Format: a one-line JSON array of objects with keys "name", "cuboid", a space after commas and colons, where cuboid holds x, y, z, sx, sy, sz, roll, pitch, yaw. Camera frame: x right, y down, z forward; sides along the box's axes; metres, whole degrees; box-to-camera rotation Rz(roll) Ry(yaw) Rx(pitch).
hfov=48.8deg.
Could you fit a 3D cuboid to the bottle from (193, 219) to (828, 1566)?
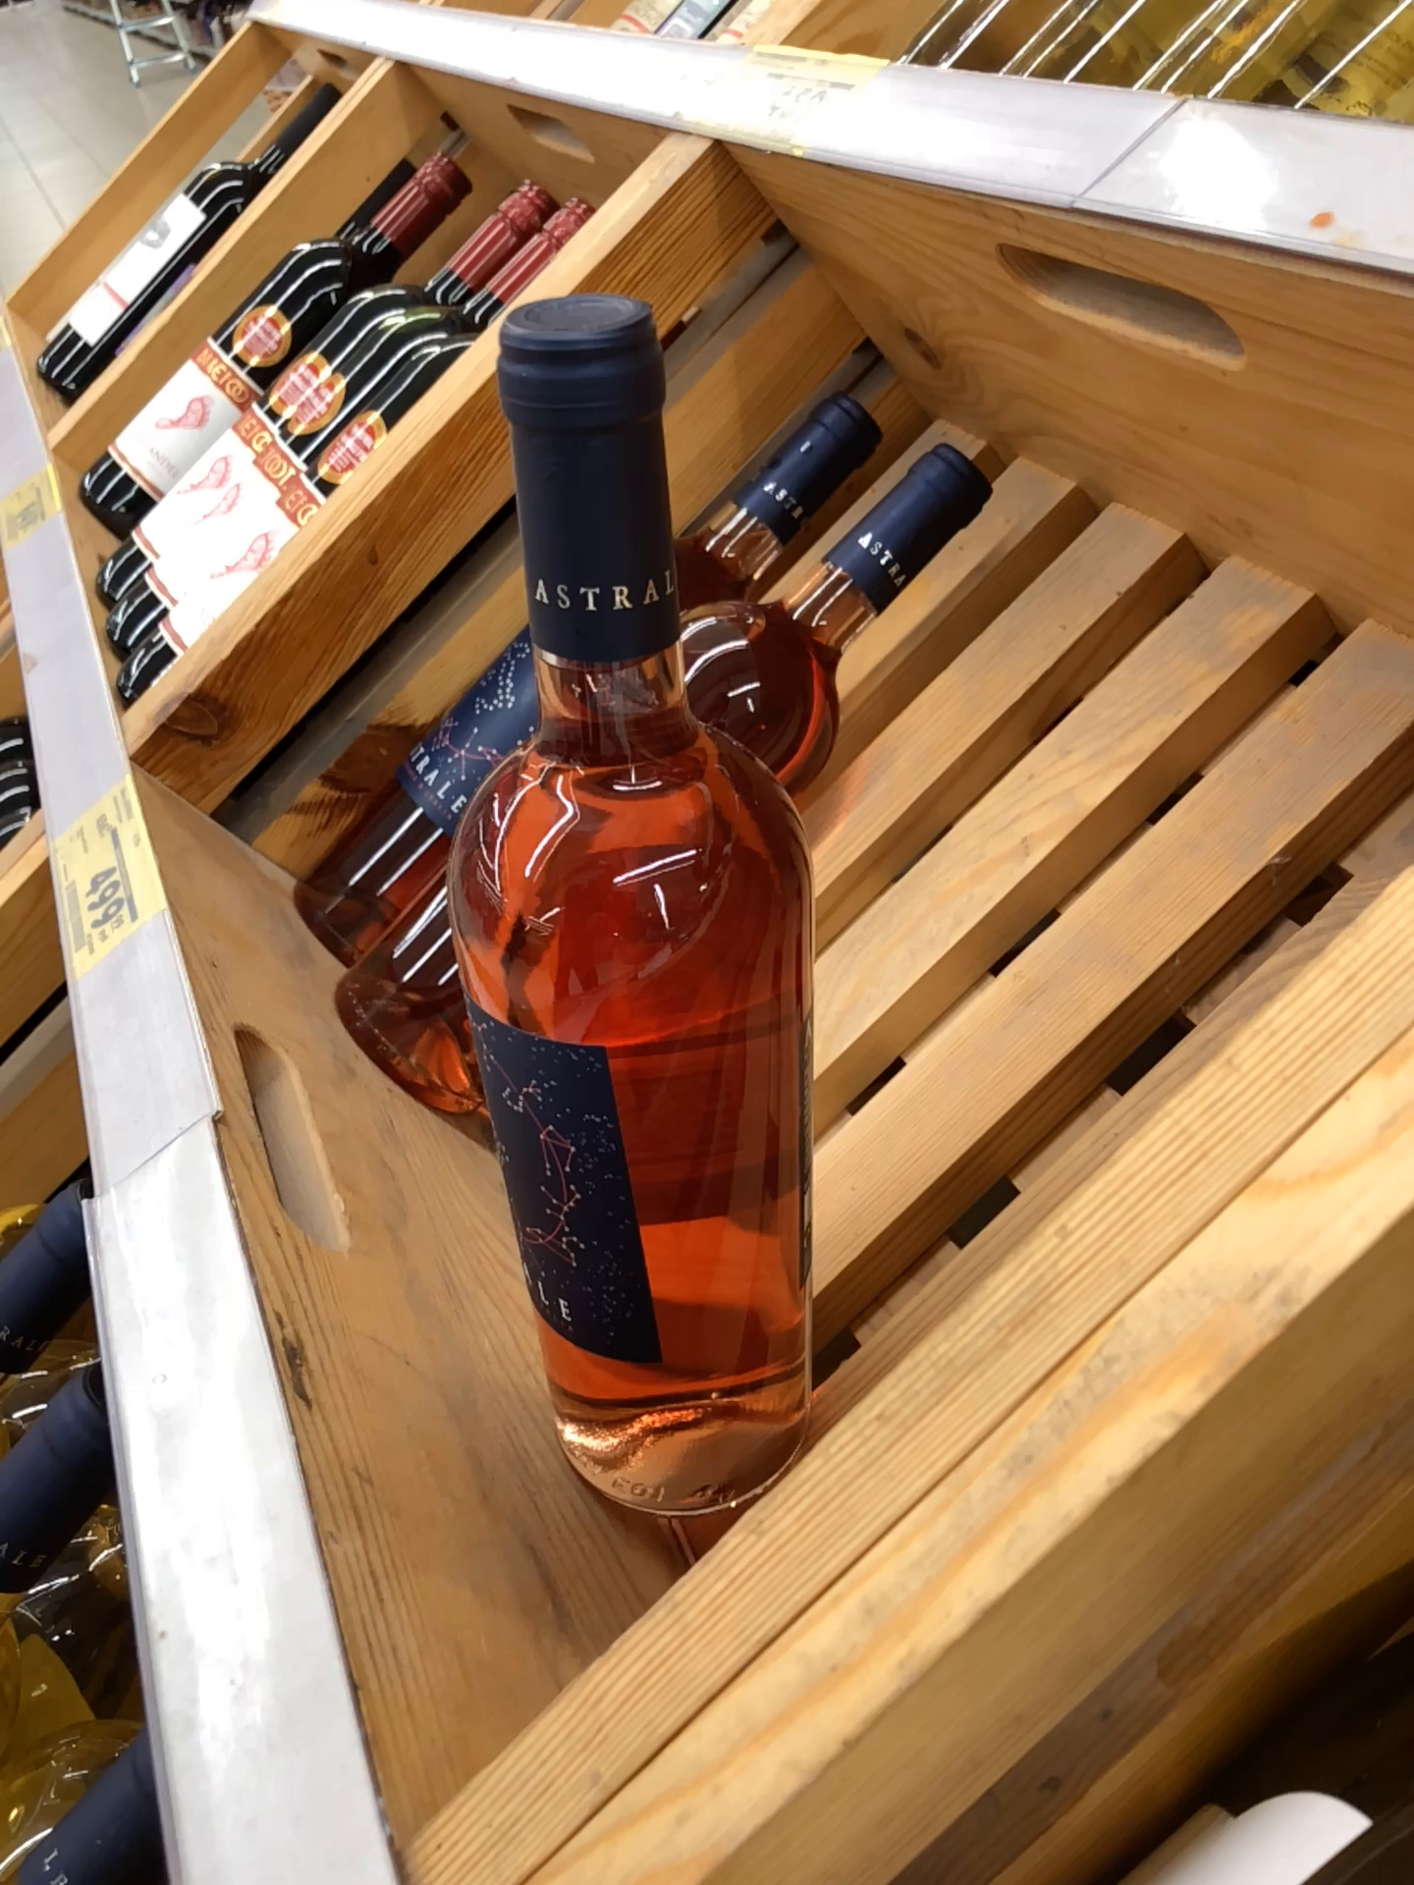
[{"name": "bottle", "cuboid": [-0.032, 0.007, 0.347, 0.080, 0.288, 0.080, -5, 35, 3]}]
